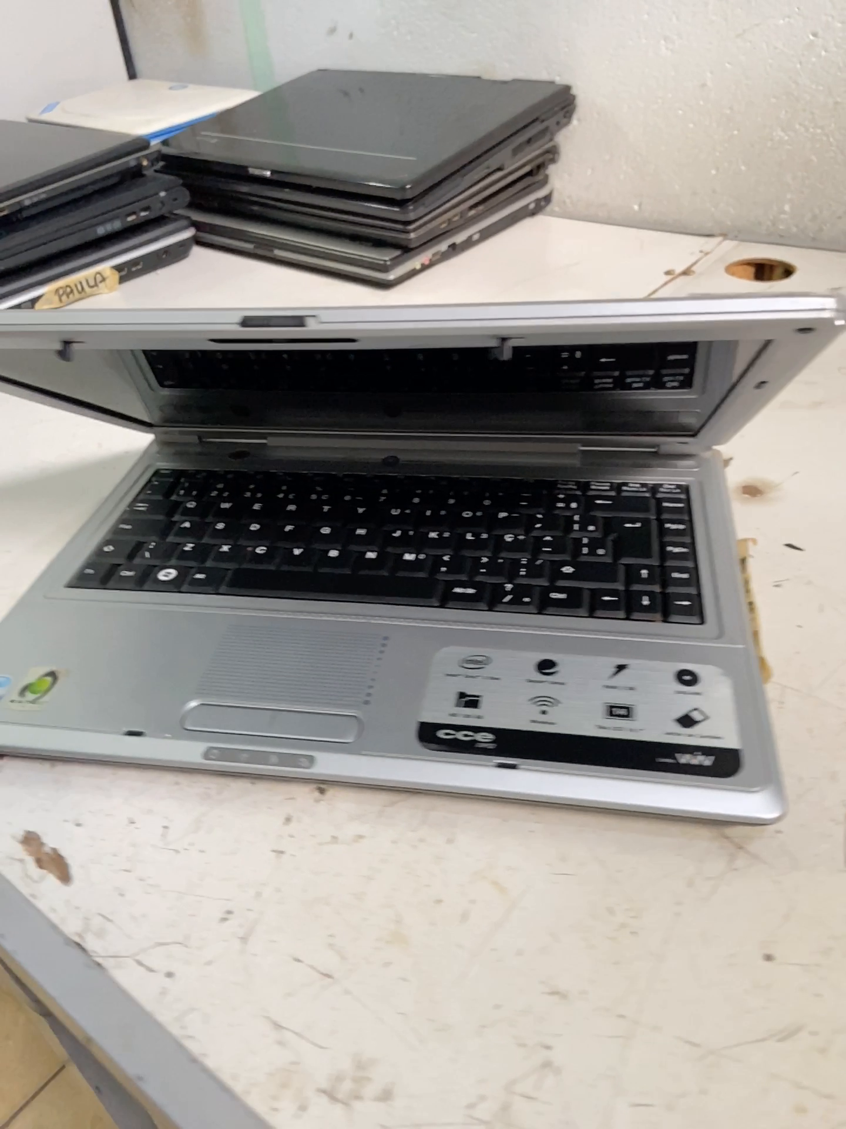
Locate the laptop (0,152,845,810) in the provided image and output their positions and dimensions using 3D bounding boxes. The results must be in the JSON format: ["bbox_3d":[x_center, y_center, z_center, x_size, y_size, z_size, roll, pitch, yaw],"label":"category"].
[{"bbox_3d":[-0.028,-0.058,0.376,0.335,0.153,0.244,2,38,11],"label":"laptop"}]
